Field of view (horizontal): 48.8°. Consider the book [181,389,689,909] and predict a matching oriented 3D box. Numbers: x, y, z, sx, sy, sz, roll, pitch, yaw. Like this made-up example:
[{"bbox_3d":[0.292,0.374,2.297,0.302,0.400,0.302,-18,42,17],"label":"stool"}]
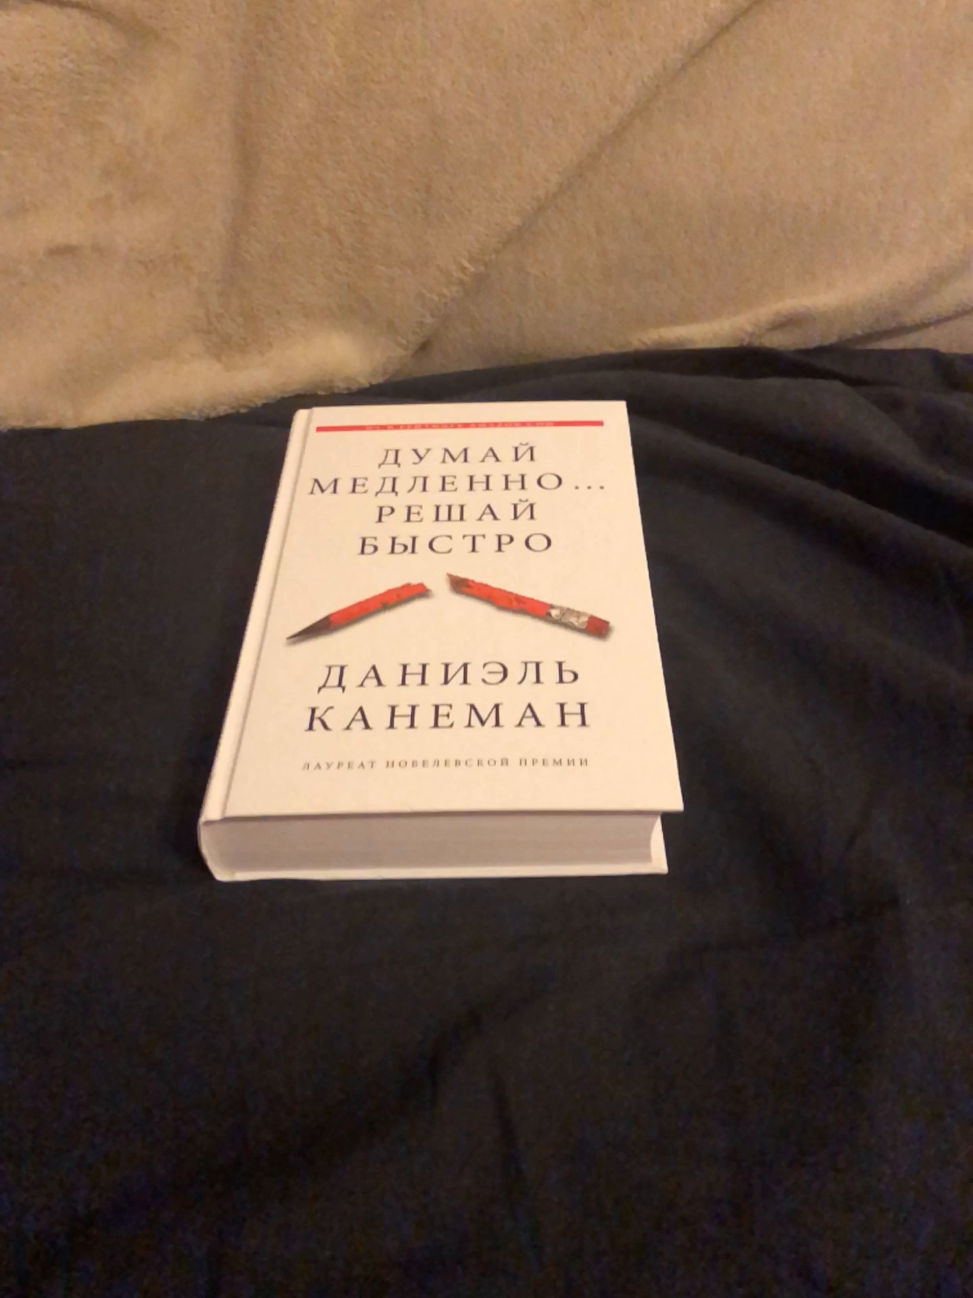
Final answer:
[{"bbox_3d":[-0.013,-0.013,0.406,0.149,0.050,0.221,-1,46,2],"label":"book"}]
